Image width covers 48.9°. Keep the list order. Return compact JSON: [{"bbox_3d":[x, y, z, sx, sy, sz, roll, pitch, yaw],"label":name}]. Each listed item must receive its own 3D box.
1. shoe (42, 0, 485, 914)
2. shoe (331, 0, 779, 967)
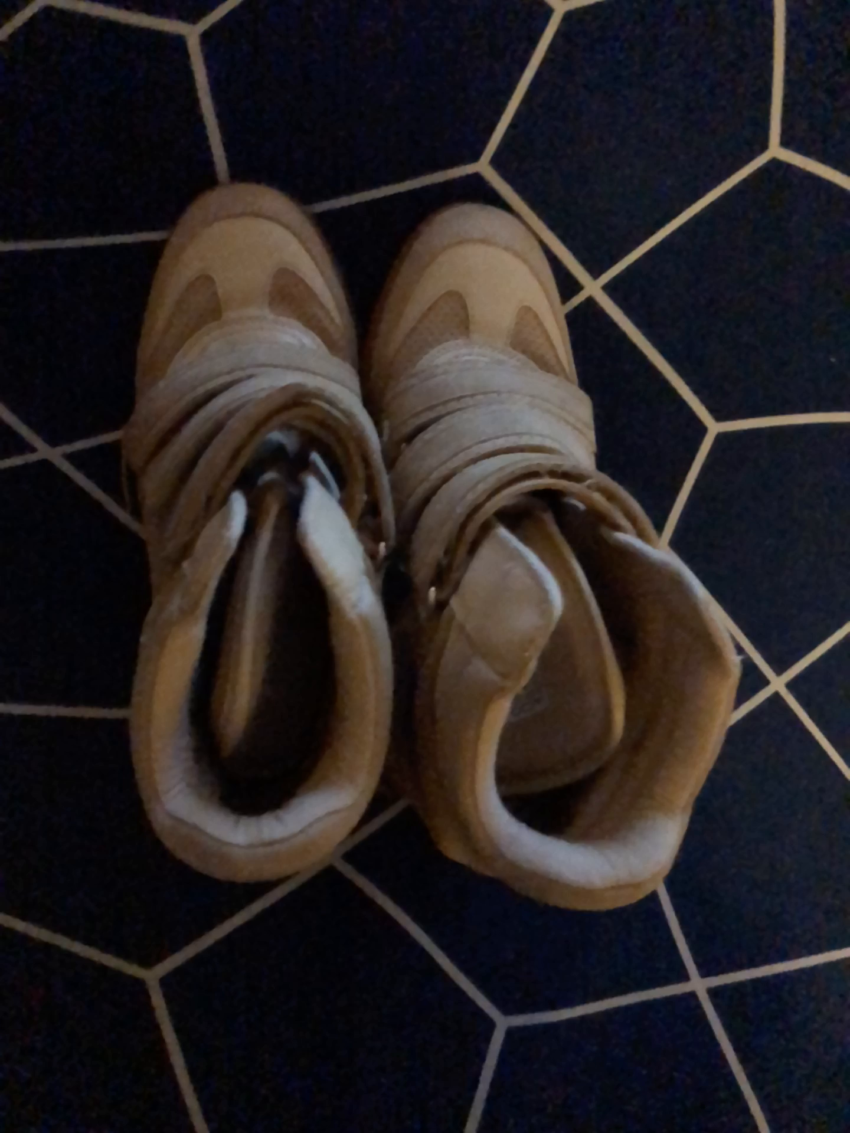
[{"bbox_3d":[-0.056,-0.039,0.307,0.100,0.140,0.260,-2,79,-11],"label":"shoe"},{"bbox_3d":[0.025,-0.032,0.313,0.100,0.130,0.280,2,78,-10],"label":"shoe"}]
